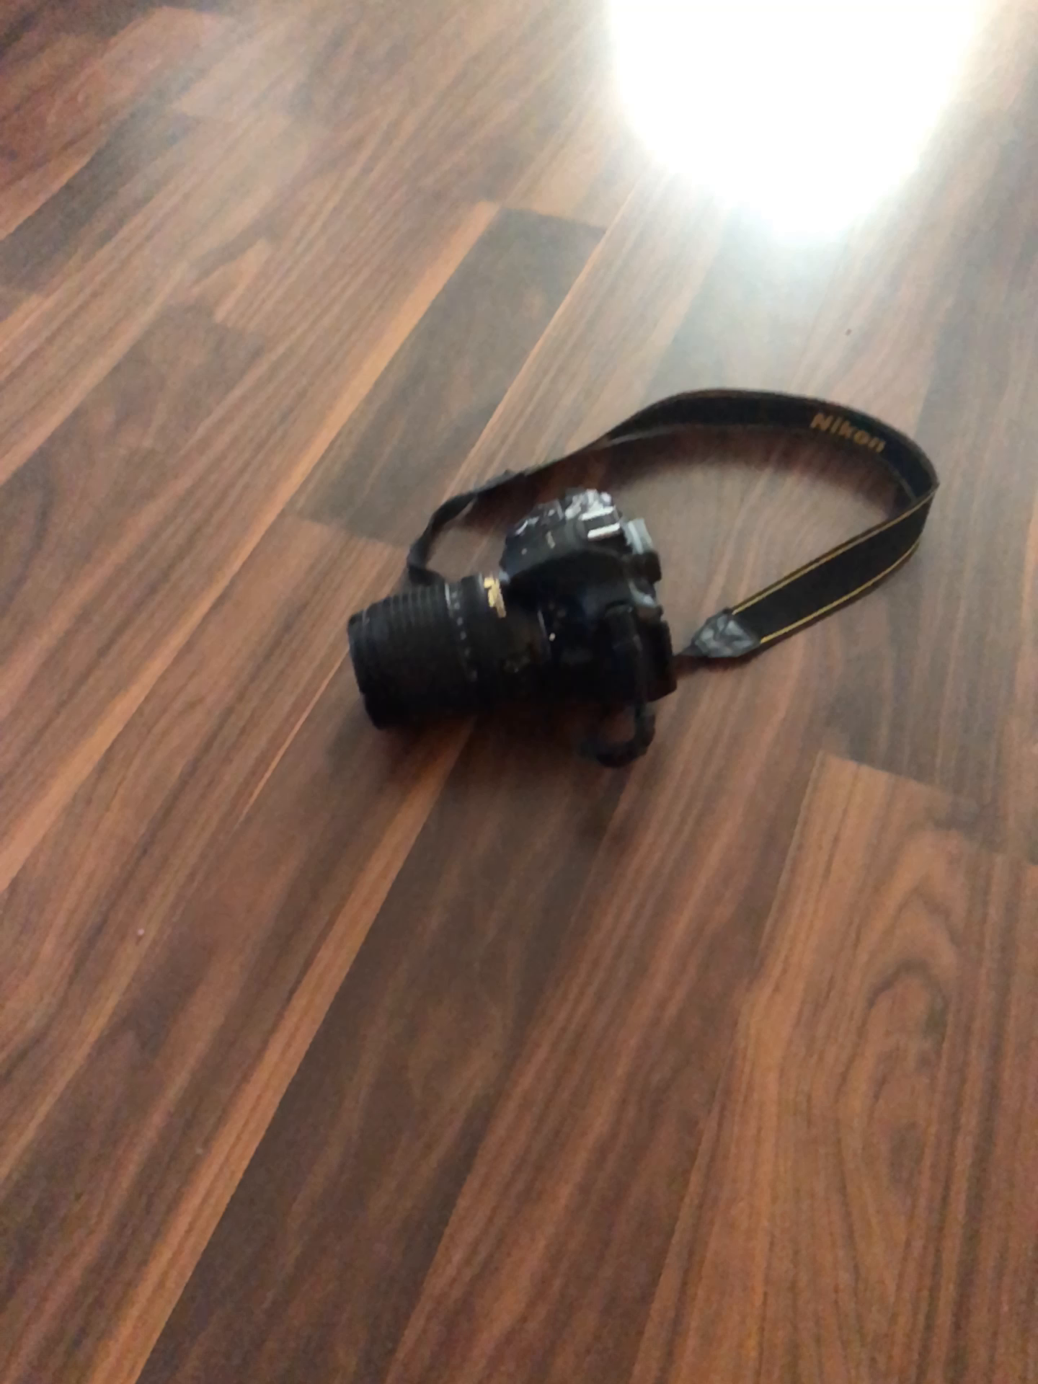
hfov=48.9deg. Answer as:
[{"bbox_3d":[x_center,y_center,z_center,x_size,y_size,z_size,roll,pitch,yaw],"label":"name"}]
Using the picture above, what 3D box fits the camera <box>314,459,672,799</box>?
[{"bbox_3d":[-0.013,-0.035,0.681,0.180,0.130,0.110,-13,54,-3],"label":"camera"}]
